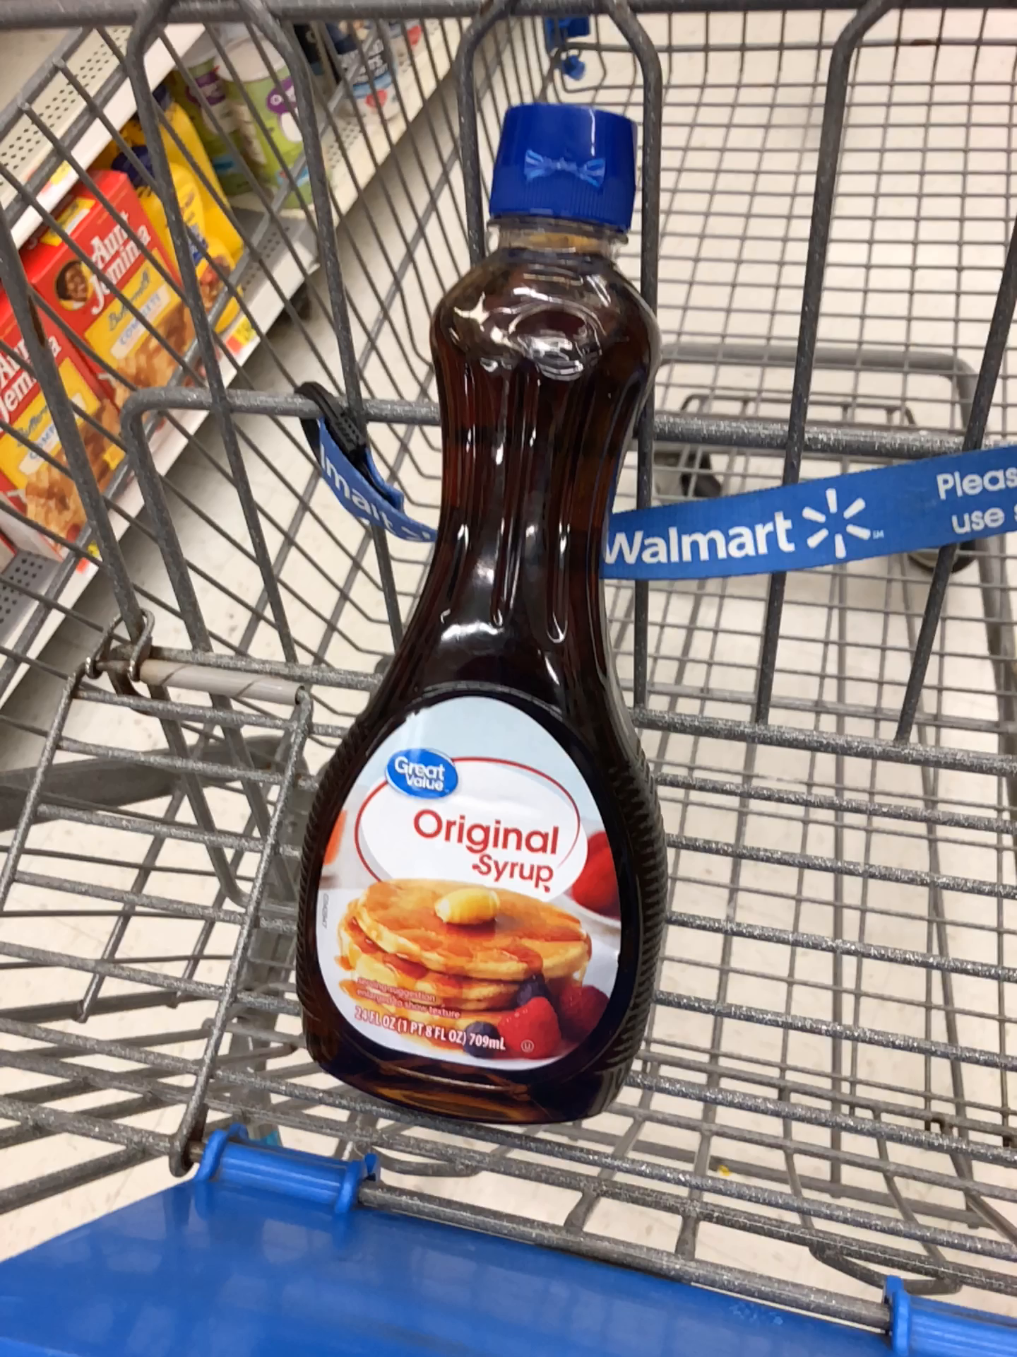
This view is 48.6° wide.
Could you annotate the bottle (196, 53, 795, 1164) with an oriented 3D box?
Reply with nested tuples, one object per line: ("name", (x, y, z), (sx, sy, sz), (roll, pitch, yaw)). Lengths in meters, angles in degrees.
("bottle", (-0.005, -0.018, 0.300), (0.120, 0.070, 0.250), (9, 102, 15))
